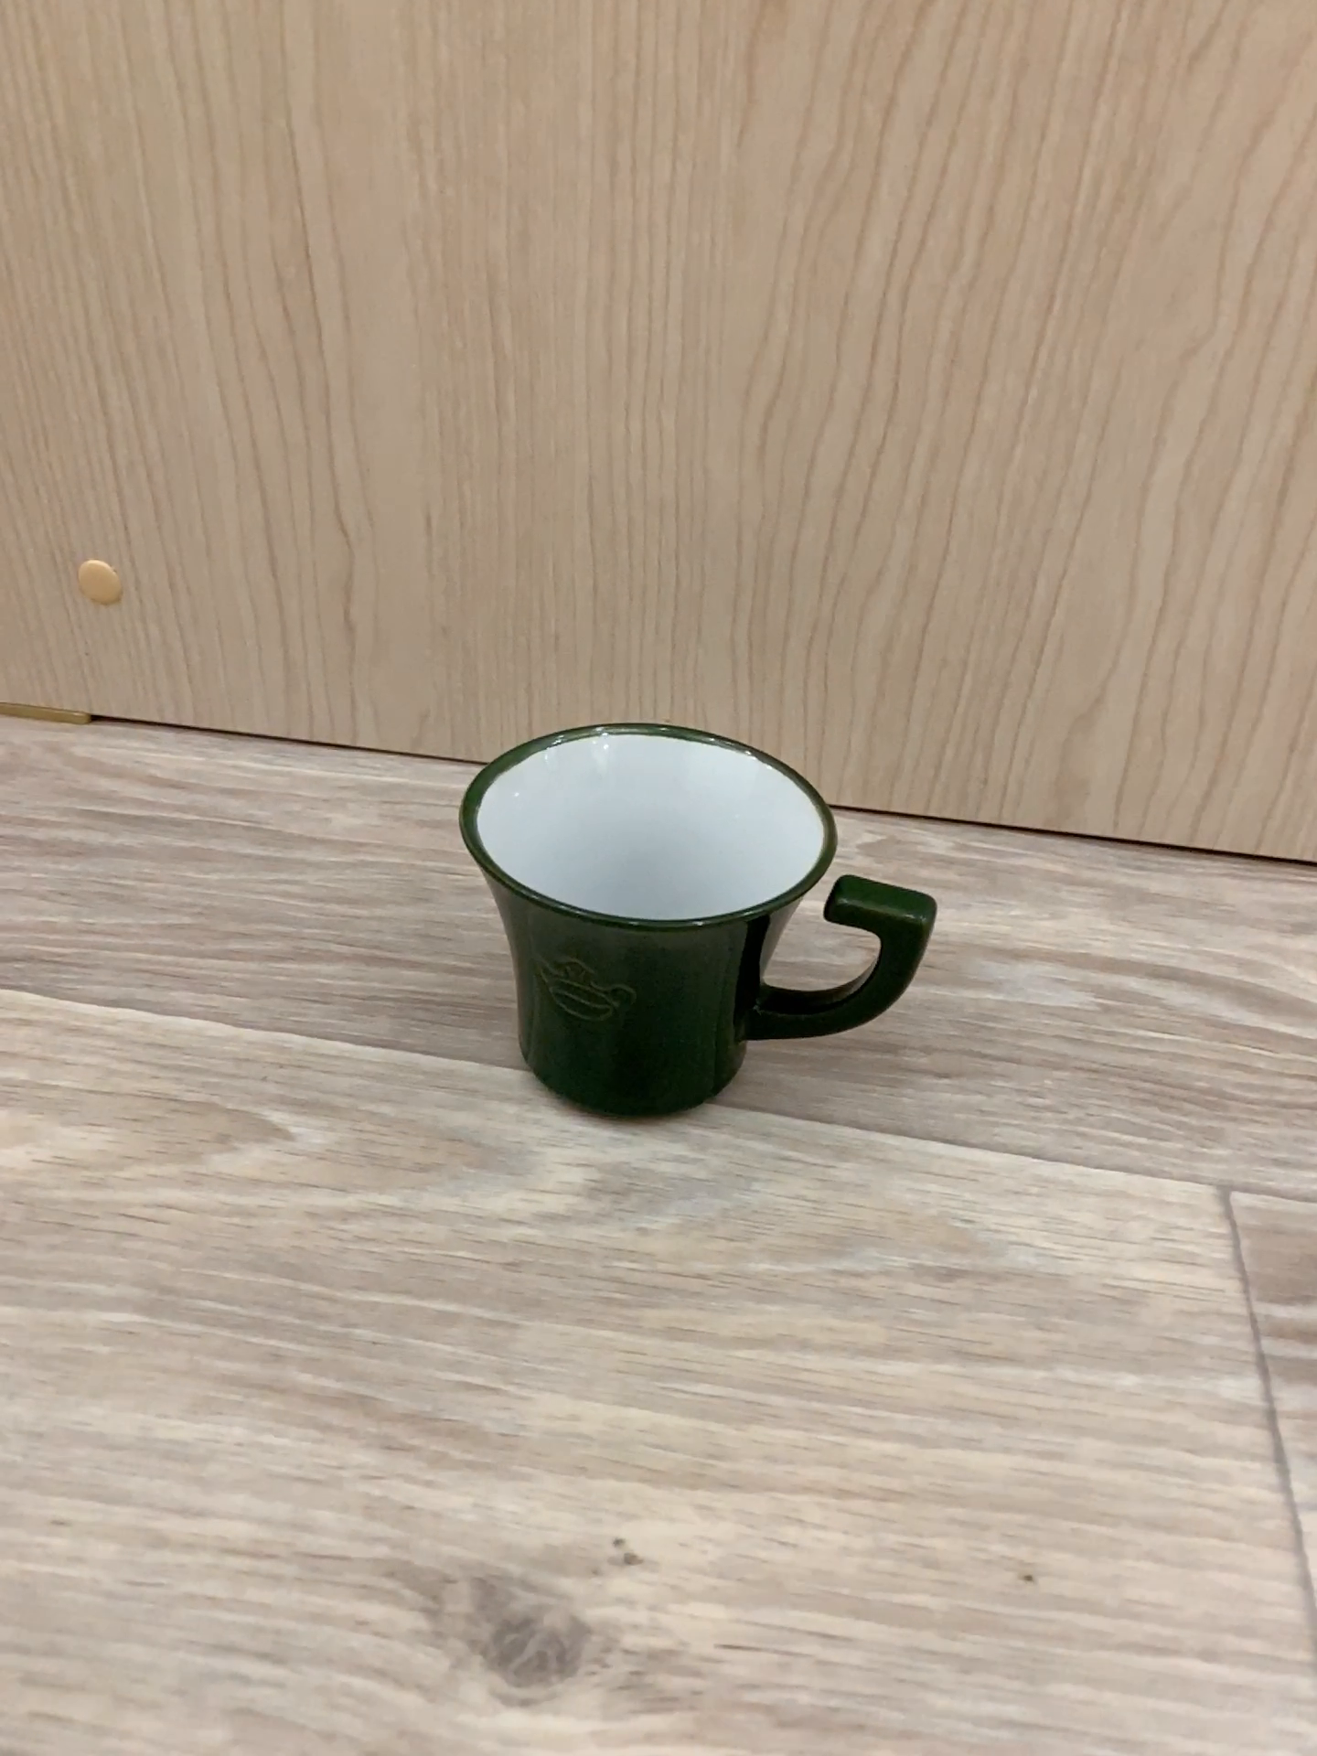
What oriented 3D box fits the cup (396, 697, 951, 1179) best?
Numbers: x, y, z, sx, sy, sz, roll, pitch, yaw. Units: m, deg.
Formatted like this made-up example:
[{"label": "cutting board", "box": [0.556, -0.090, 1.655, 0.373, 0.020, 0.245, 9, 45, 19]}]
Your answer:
[{"label": "cup", "box": [0.006, 0.010, 0.309, 0.106, 0.061, 0.075, 9, 34, 9]}]
